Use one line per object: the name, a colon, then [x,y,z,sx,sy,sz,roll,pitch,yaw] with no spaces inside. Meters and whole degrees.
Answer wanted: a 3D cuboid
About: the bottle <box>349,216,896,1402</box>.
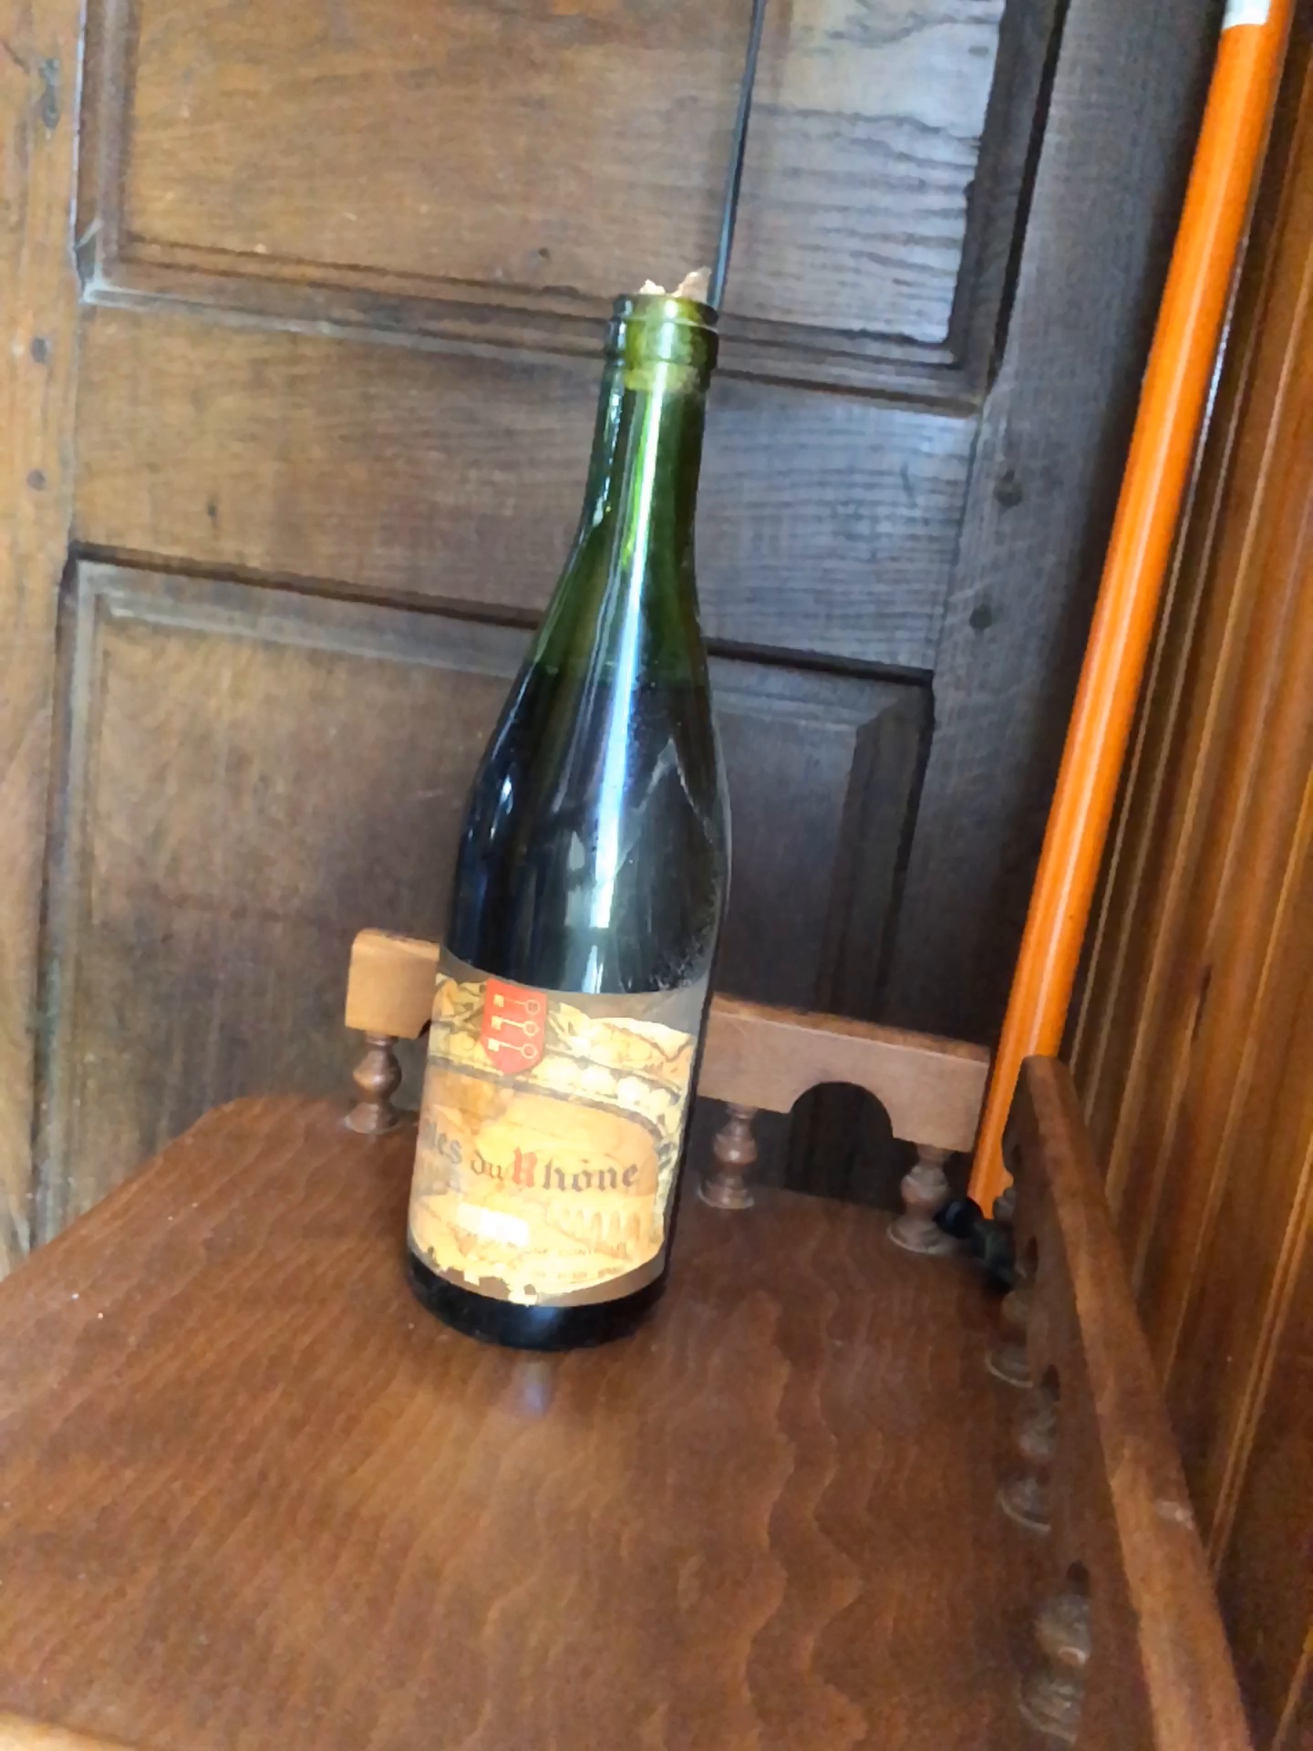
bottle: [-0.010,-0.017,0.396,0.090,0.279,0.090,7,13,-2]
